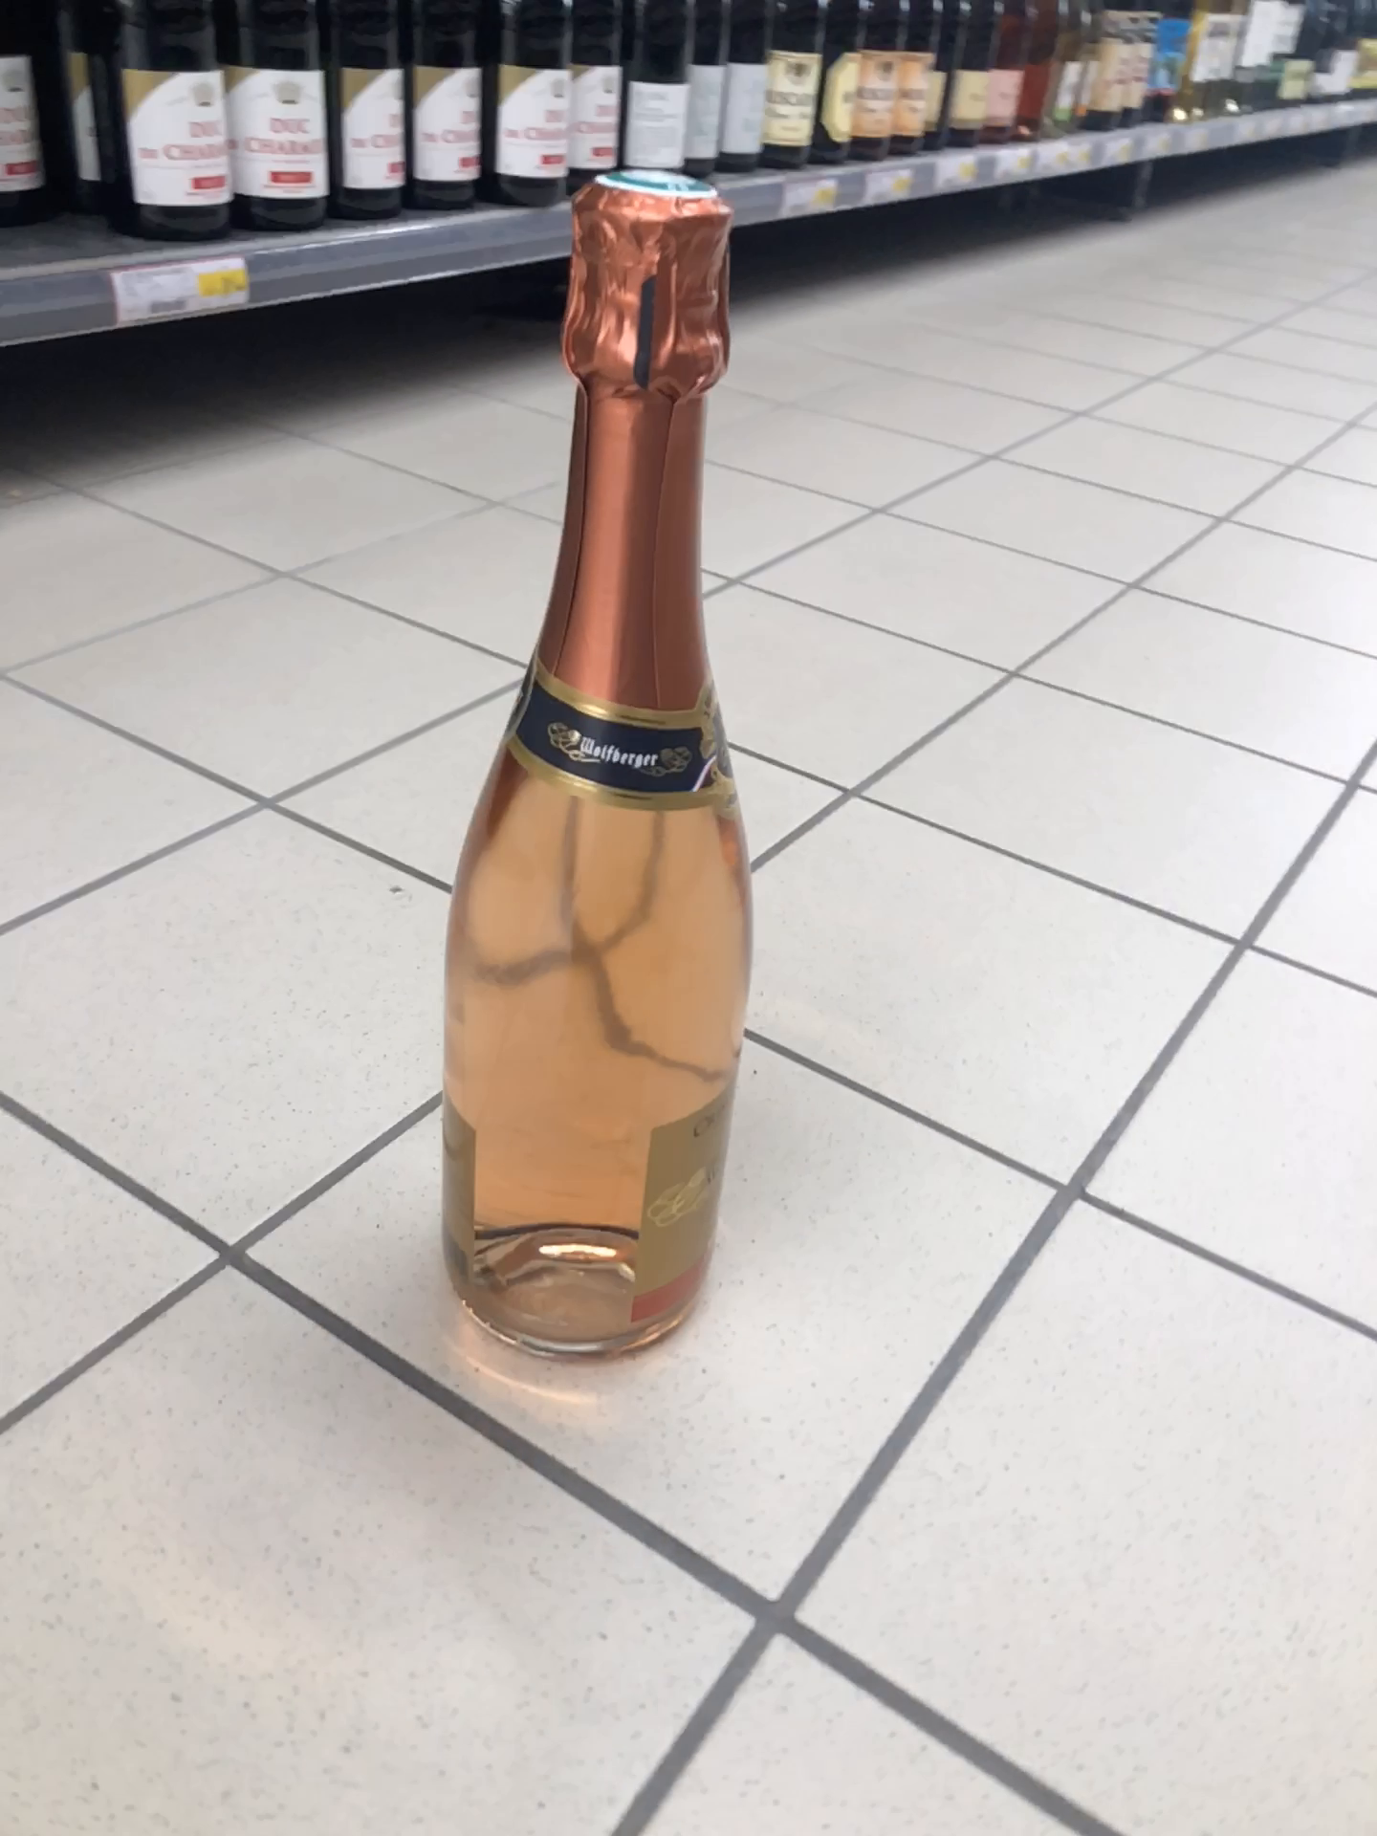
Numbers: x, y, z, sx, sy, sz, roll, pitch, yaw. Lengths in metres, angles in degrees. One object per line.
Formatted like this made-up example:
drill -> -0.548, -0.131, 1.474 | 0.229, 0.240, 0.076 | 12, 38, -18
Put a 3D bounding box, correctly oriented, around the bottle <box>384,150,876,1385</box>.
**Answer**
bottle -> -0.026, -0.020, 0.396 | 0.090, 0.308, 0.090 | 4, 32, -3
